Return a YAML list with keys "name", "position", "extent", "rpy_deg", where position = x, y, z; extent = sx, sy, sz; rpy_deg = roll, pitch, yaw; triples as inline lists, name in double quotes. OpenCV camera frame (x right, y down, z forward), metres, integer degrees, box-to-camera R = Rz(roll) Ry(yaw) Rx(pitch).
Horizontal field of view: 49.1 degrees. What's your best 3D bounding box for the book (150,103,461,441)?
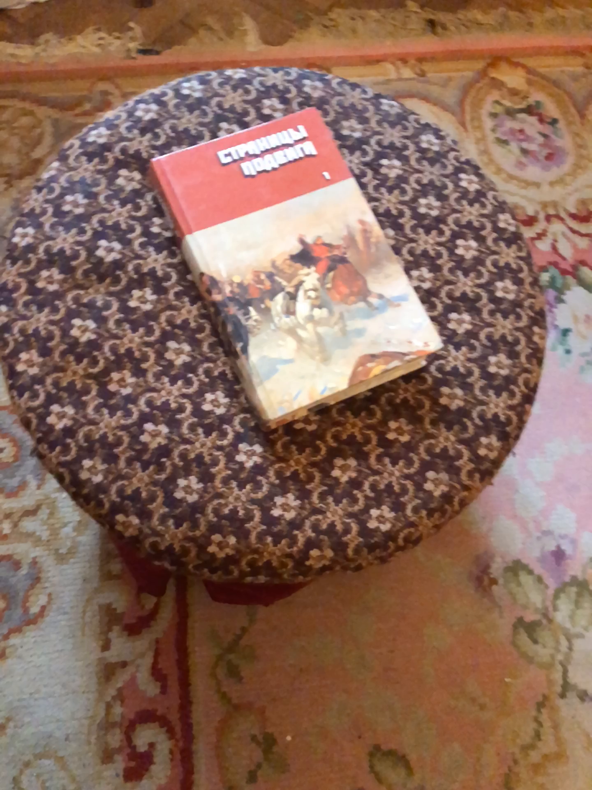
- name: "book"
  position: [0.002, -0.091, 0.452]
  extent: [0.134, 0.040, 0.206]
  rpy_deg: [-23, 76, -12]
